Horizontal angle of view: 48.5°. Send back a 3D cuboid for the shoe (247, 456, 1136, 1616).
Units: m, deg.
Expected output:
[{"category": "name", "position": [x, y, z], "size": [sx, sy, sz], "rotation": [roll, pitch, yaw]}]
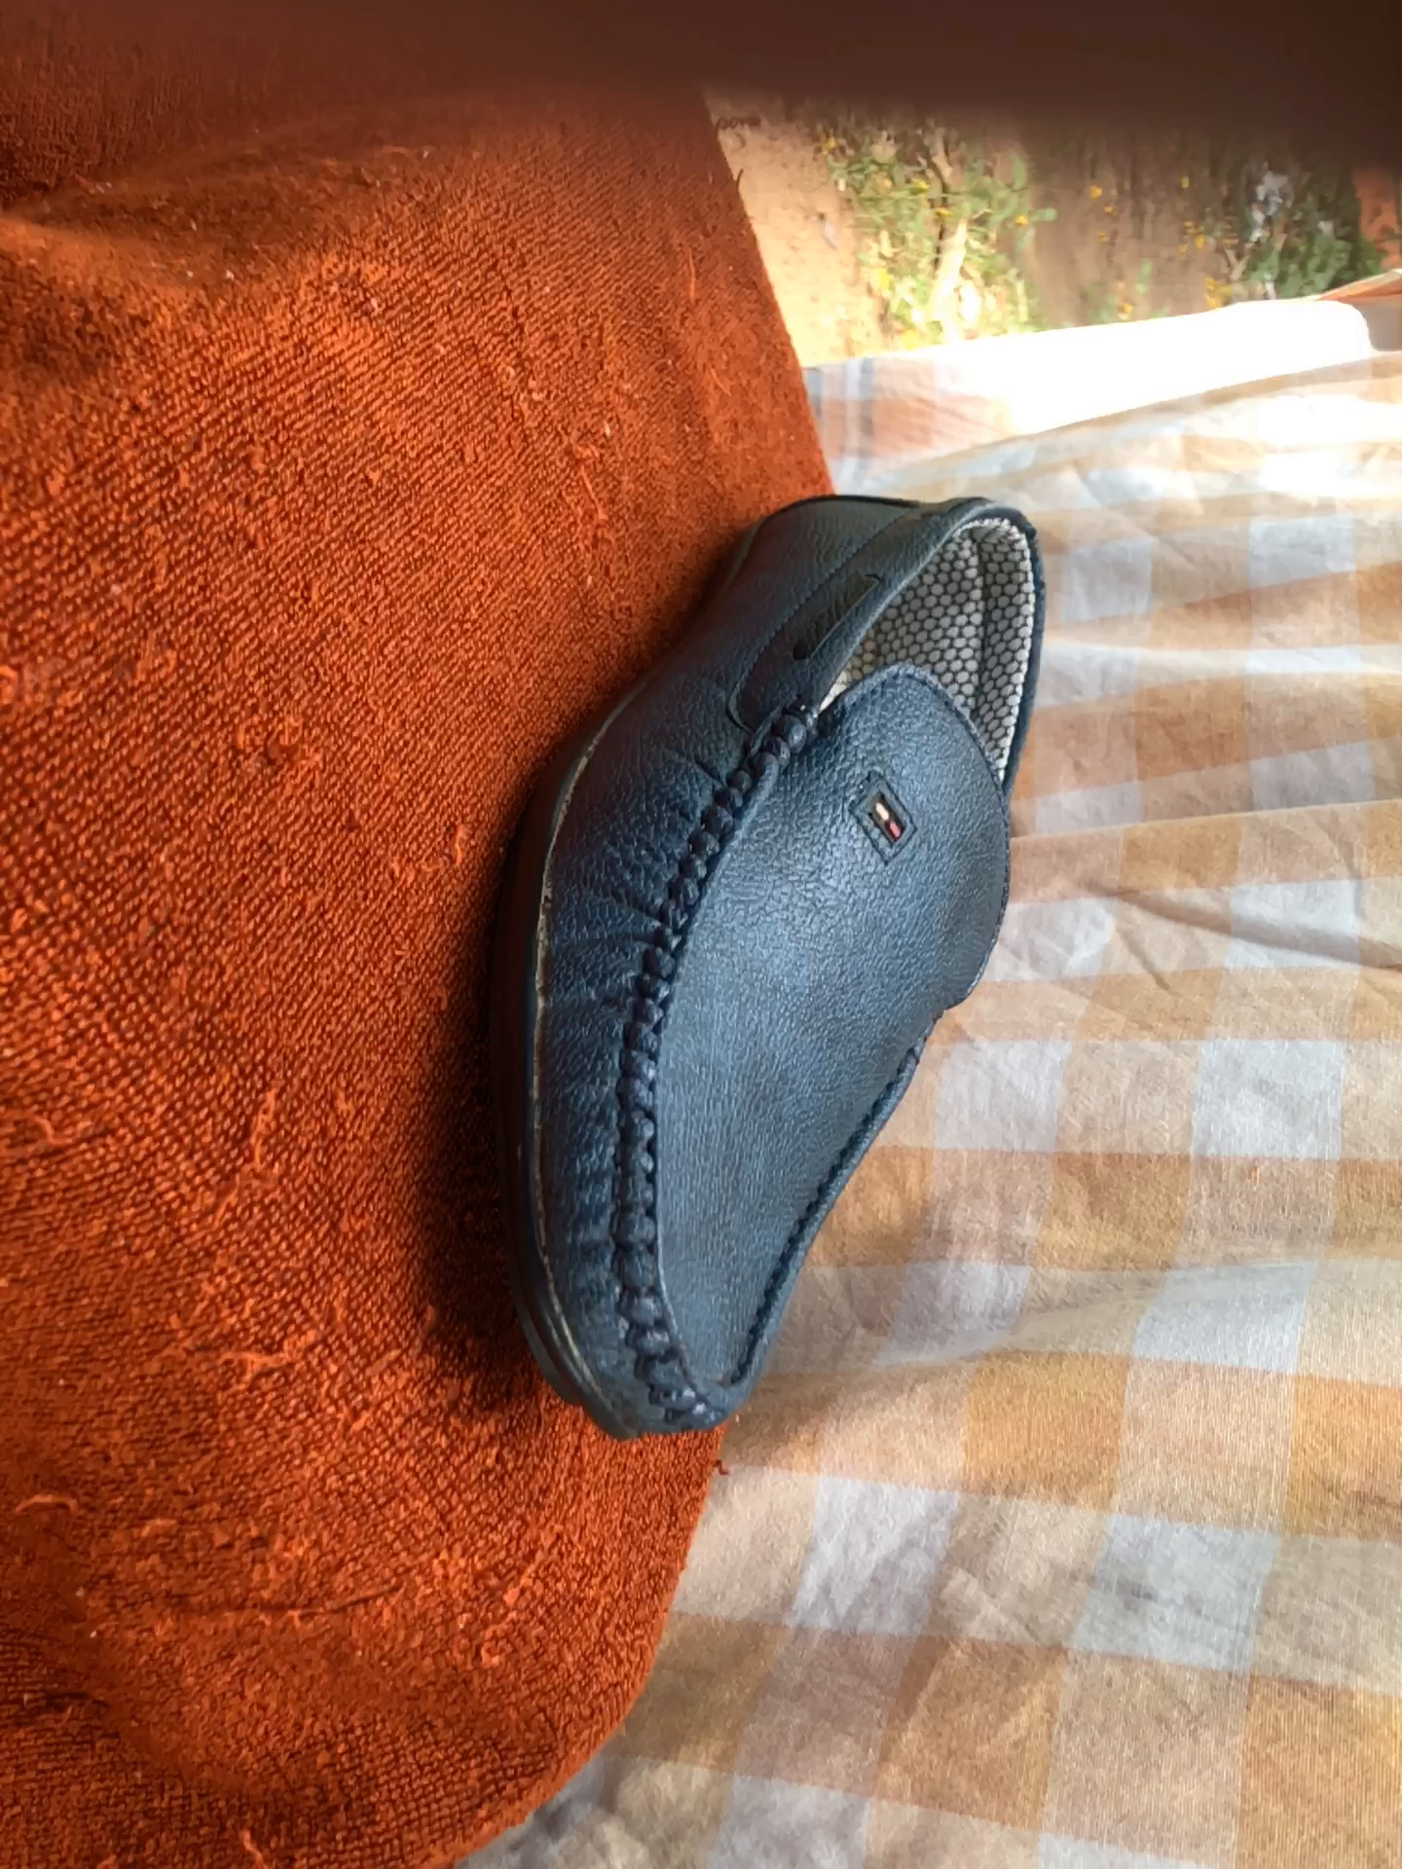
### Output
[{"category": "shoe", "position": [0.027, -0.002, 0.347], "size": [0.100, 0.089, 0.261], "rotation": [68, 31, -30]}]
